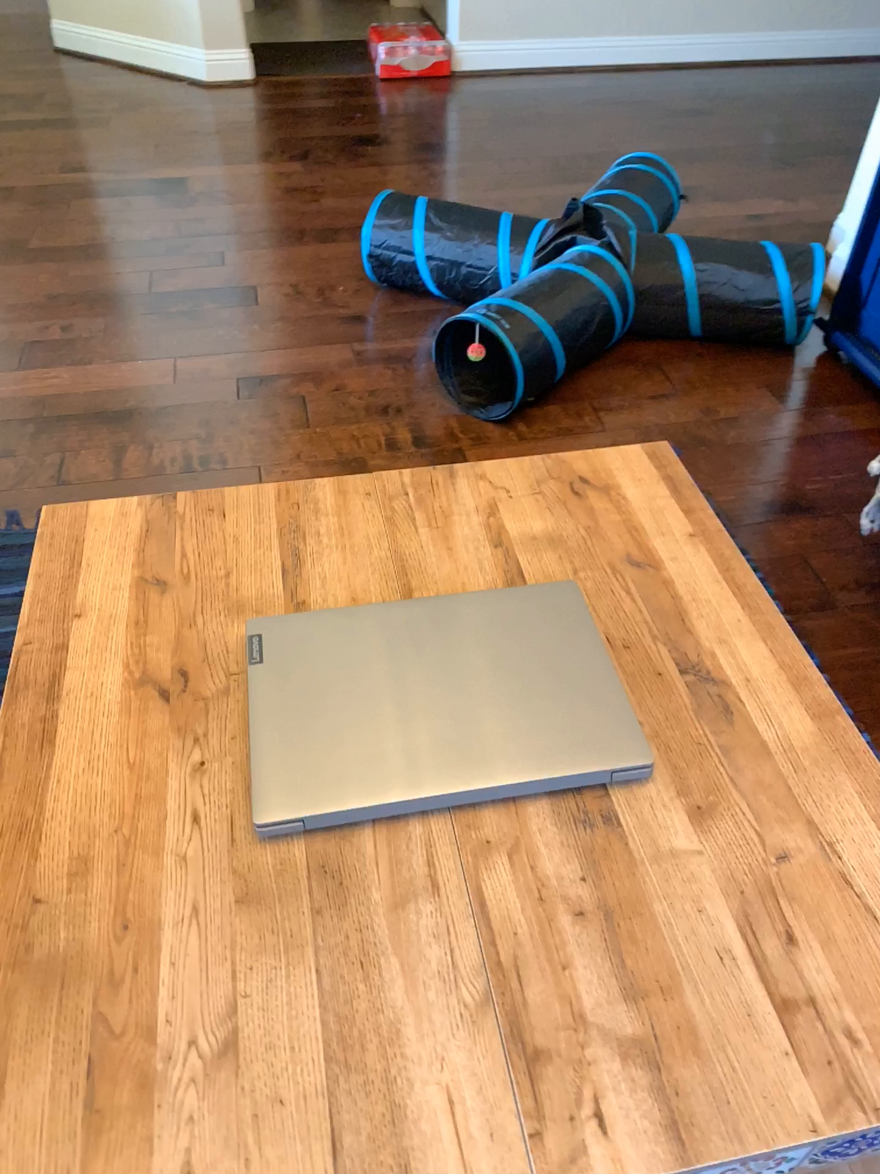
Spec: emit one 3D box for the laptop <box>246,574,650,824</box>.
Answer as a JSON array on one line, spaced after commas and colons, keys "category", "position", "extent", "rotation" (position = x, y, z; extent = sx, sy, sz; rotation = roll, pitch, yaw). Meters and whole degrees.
[{"category": "laptop", "position": [-0.005, 0.093, 0.863], "extent": [0.347, 0.011, 0.238], "rotation": [-6, 46, -9]}]
